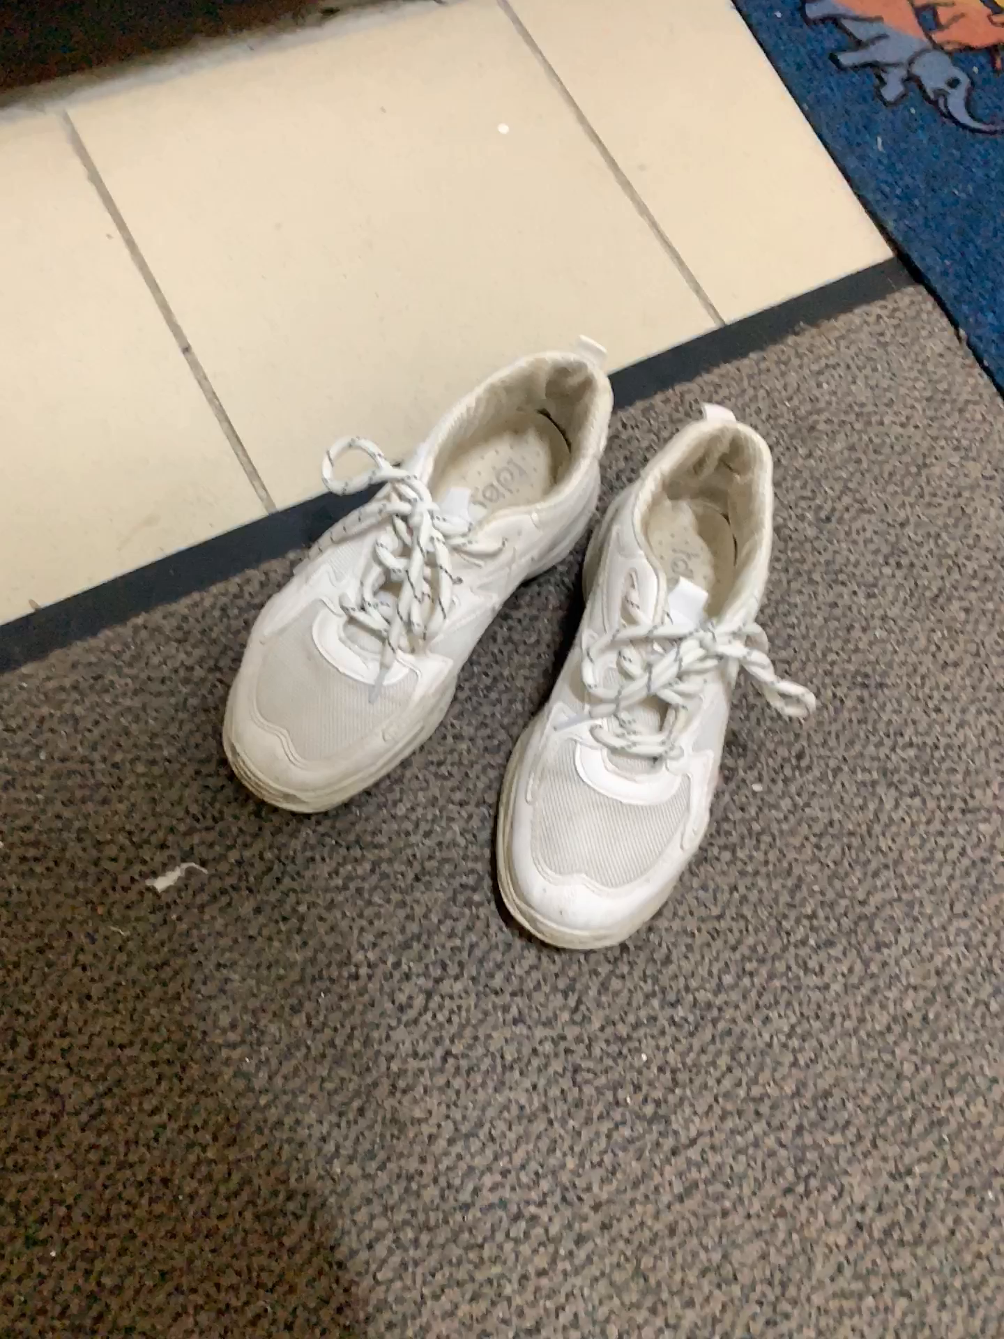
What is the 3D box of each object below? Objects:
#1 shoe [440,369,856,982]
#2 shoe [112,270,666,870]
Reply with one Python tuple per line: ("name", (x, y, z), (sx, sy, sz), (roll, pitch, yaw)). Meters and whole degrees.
("shoe", (0.063, 0.009, 0.477), (0.100, 0.140, 0.230), (21, 68, 0))
("shoe", (-0.045, -0.041, 0.478), (0.100, 0.140, 0.230), (36, 69, 6))
